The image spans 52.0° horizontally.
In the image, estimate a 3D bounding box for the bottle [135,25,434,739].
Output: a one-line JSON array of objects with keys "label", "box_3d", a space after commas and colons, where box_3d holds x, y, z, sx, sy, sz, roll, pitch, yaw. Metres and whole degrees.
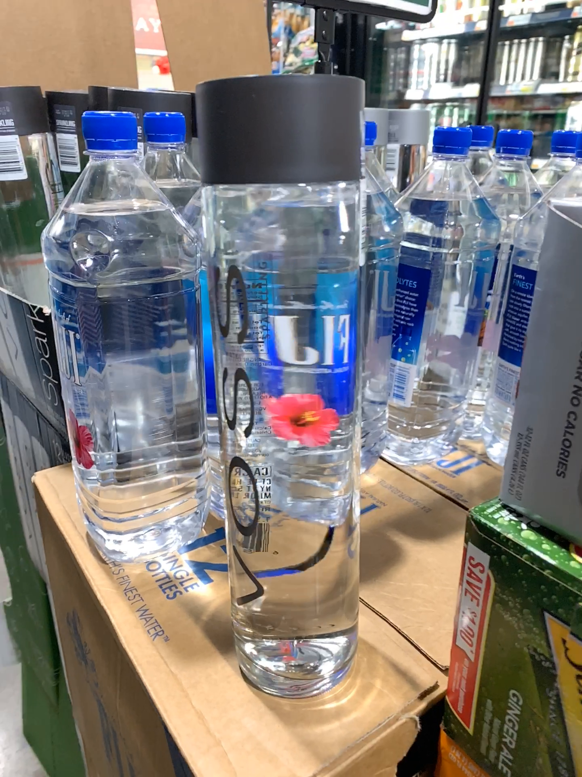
[{"label": "bottle", "box_3d": [-0.003, 0.008, 0.278, 0.080, 0.289, 0.080, 0, 22, 0]}]
